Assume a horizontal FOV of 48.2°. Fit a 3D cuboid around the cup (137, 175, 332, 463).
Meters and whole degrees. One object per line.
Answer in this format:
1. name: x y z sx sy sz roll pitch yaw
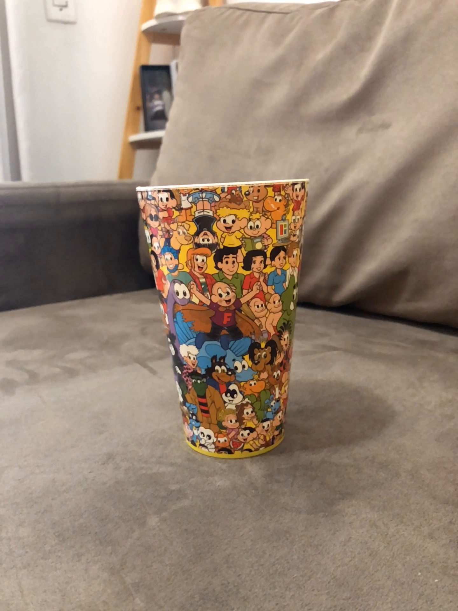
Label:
1. cup: 0.003 0.000 0.296 0.090 0.139 0.090 -3 11 1
